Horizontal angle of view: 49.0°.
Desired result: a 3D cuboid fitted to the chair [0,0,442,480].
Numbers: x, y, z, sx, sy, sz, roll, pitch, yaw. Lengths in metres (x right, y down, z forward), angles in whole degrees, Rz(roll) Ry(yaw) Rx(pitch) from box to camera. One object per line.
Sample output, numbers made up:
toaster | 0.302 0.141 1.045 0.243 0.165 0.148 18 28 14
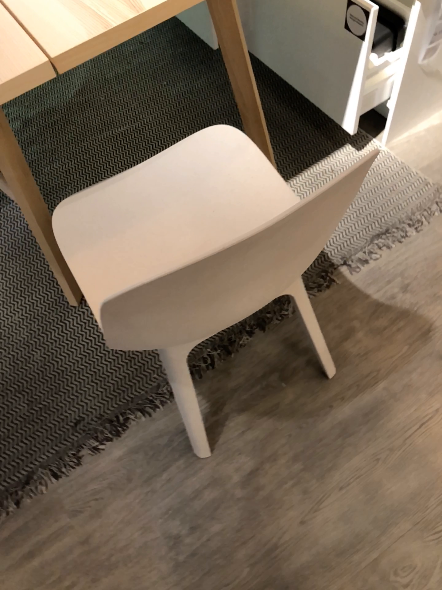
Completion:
chair | -0.051 -0.075 0.893 0.460 0.767 0.512 -32 63 -10
